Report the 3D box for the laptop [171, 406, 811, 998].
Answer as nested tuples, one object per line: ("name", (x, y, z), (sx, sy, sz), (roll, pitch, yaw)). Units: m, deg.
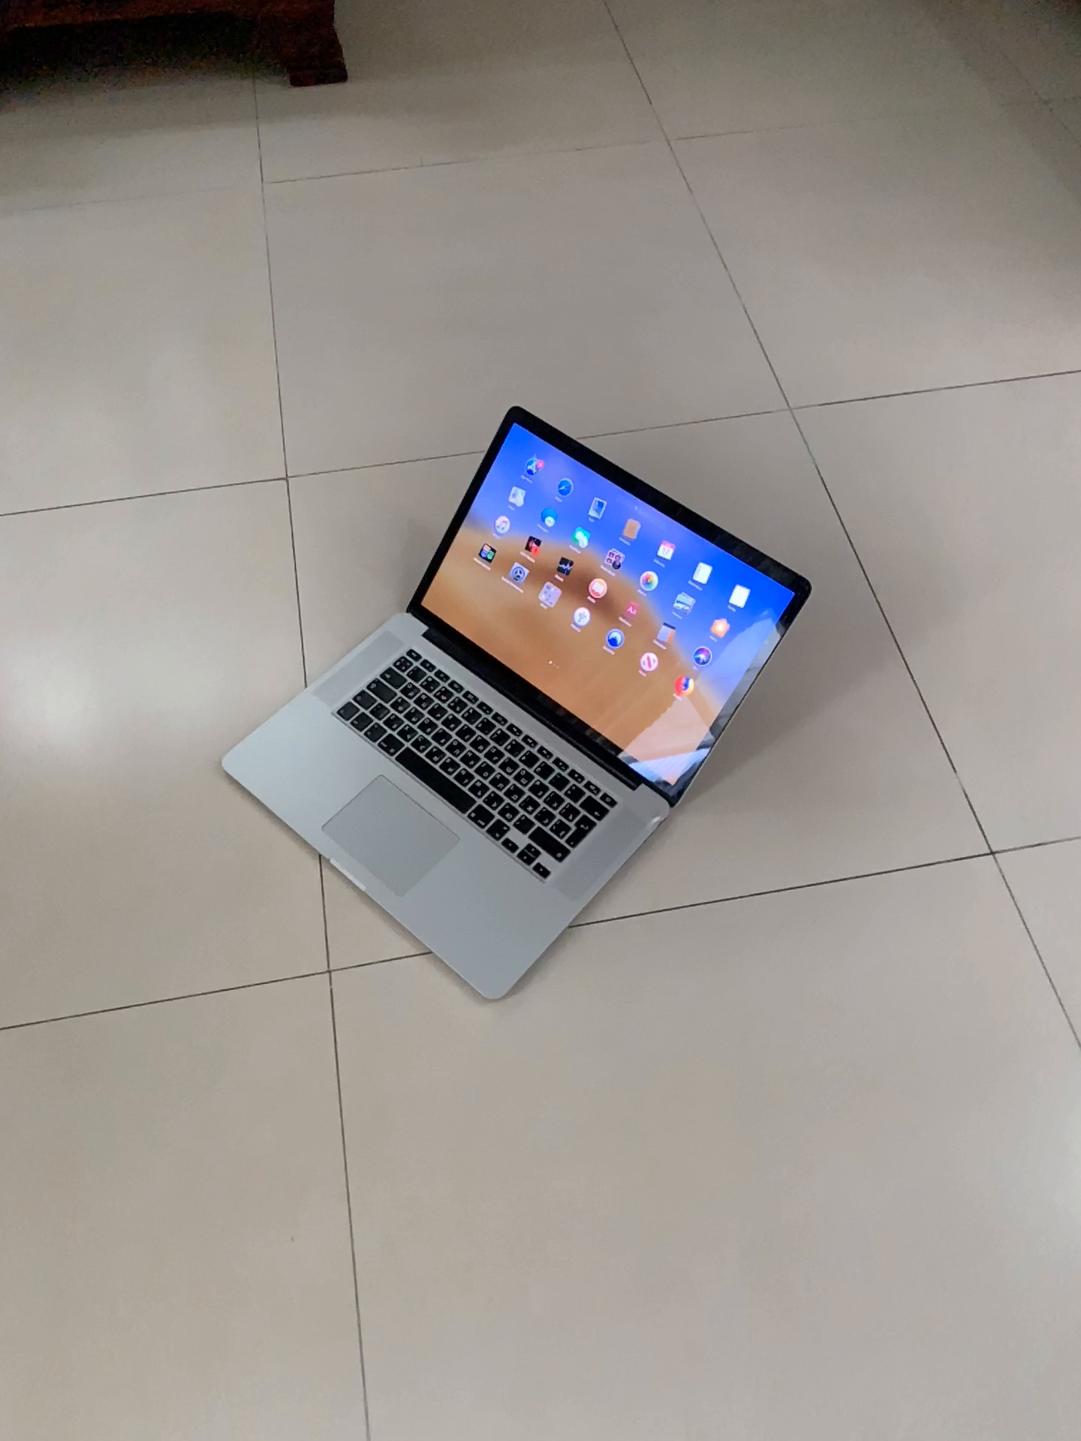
("laptop", (-0.034, -0.039, 1.003), (0.352, 0.162, 0.415), (36, 63, 21))
